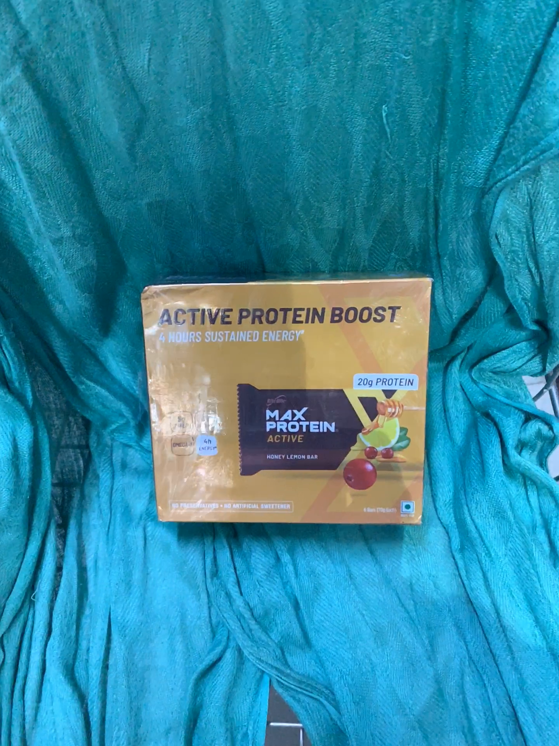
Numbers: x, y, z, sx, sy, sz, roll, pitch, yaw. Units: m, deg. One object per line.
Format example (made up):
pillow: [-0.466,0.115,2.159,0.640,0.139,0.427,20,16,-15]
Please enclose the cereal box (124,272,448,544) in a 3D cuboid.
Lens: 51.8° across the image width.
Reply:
cereal box: [0.006,0.015,0.336,0.160,0.080,0.140,-1,100,4]
